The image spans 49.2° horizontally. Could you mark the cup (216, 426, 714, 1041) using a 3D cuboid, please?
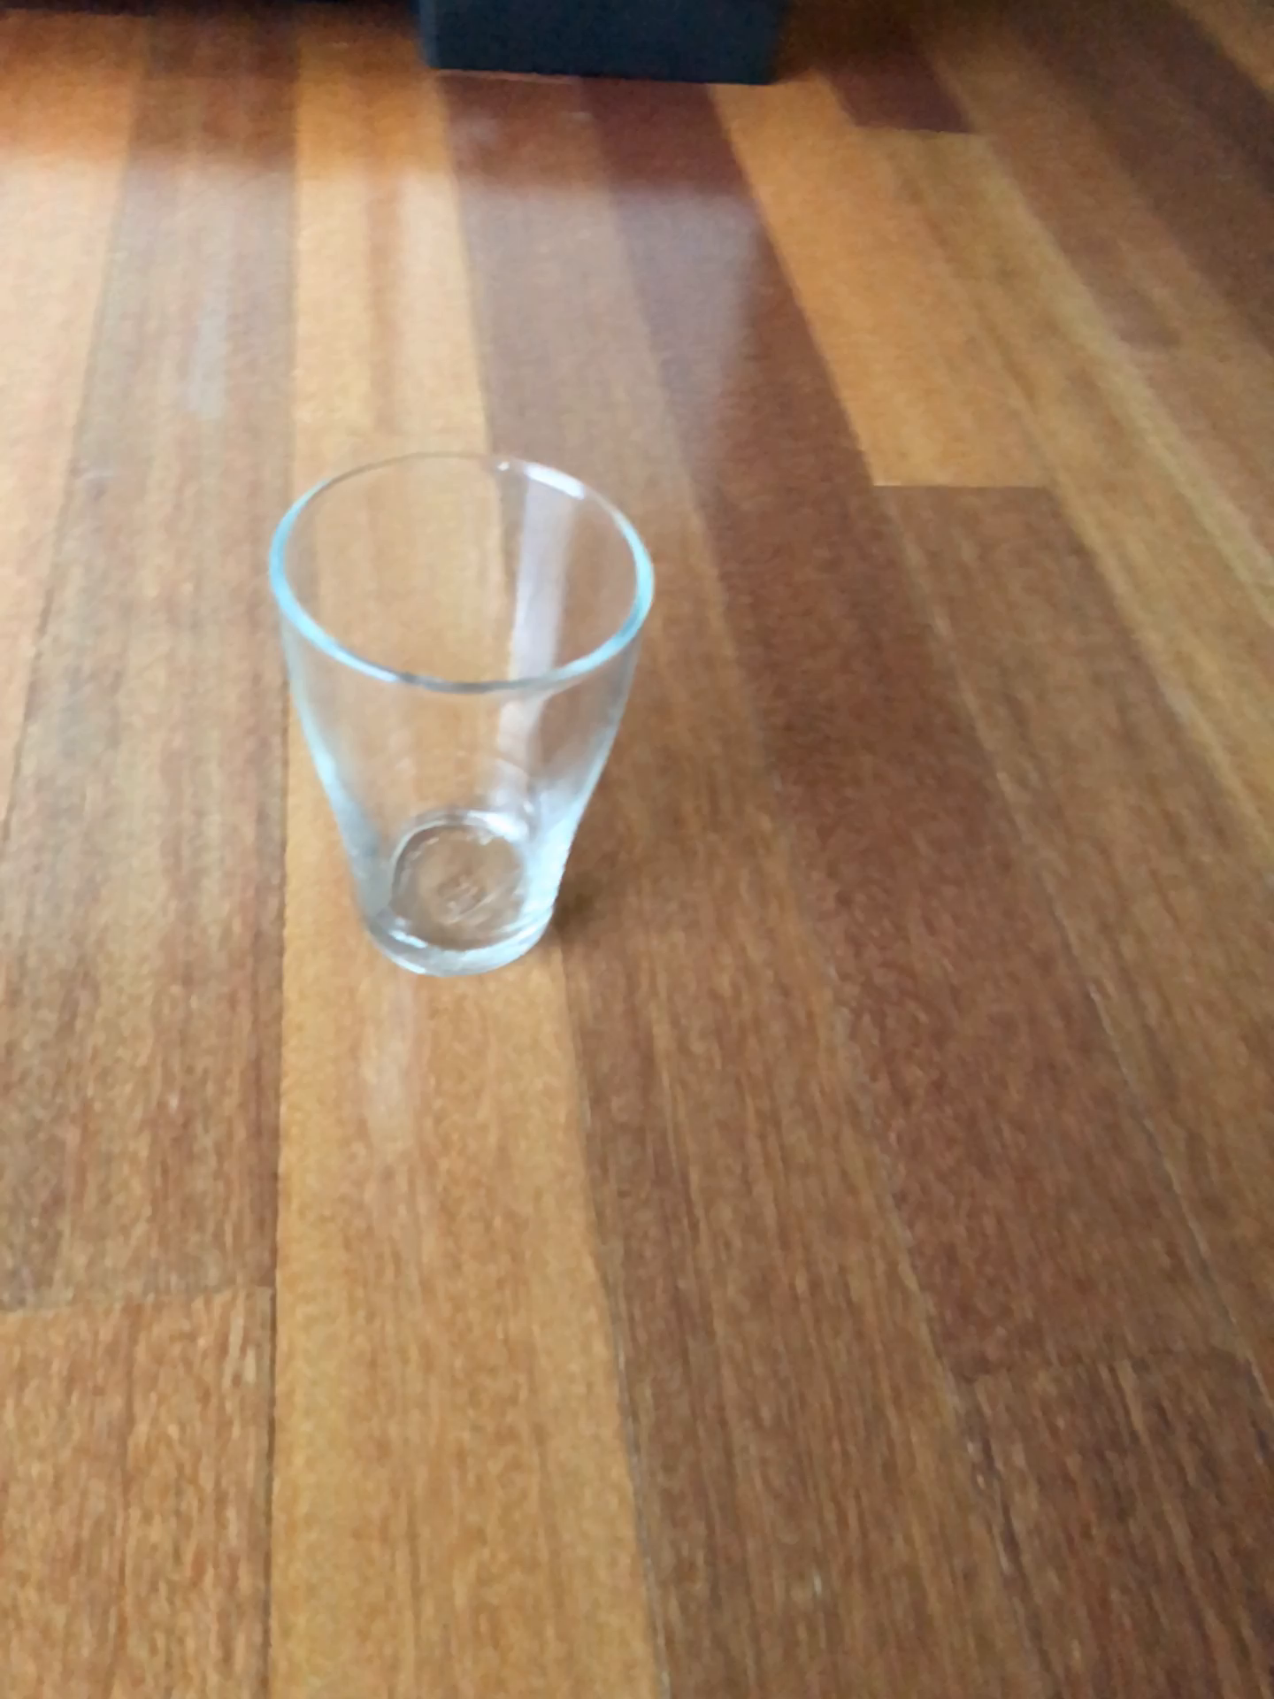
[{"bbox_3d":[-0.047,-0.028,0.345,0.090,0.109,0.090,4,50,-5],"label":"cup"}]
